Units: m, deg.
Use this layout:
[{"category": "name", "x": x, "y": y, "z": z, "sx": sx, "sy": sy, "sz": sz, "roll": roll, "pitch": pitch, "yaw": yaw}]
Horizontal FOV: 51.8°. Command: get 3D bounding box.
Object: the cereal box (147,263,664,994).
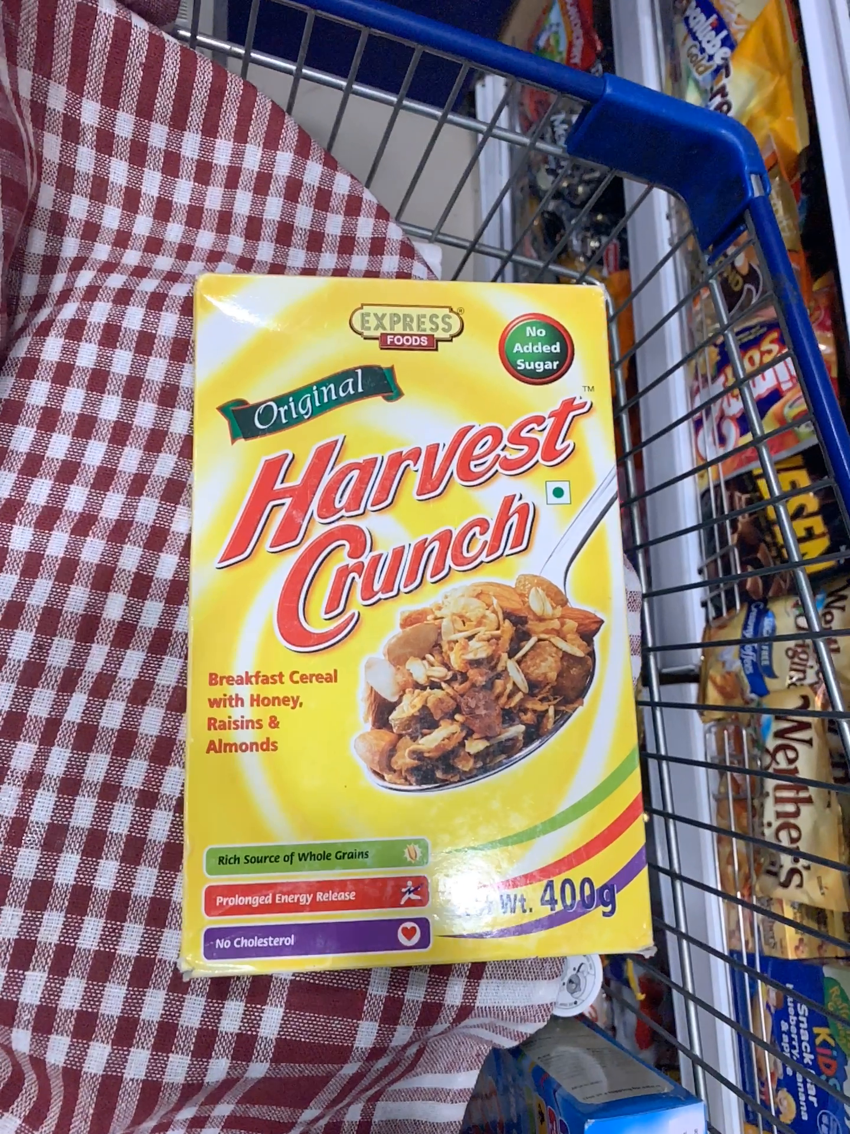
[{"category": "cereal box", "x": -0.007, "y": 0.015, "z": 0.295, "sx": 0.150, "sy": 0.050, "sz": 0.220, "roll": 0, "pitch": 81, "yaw": -5}]
